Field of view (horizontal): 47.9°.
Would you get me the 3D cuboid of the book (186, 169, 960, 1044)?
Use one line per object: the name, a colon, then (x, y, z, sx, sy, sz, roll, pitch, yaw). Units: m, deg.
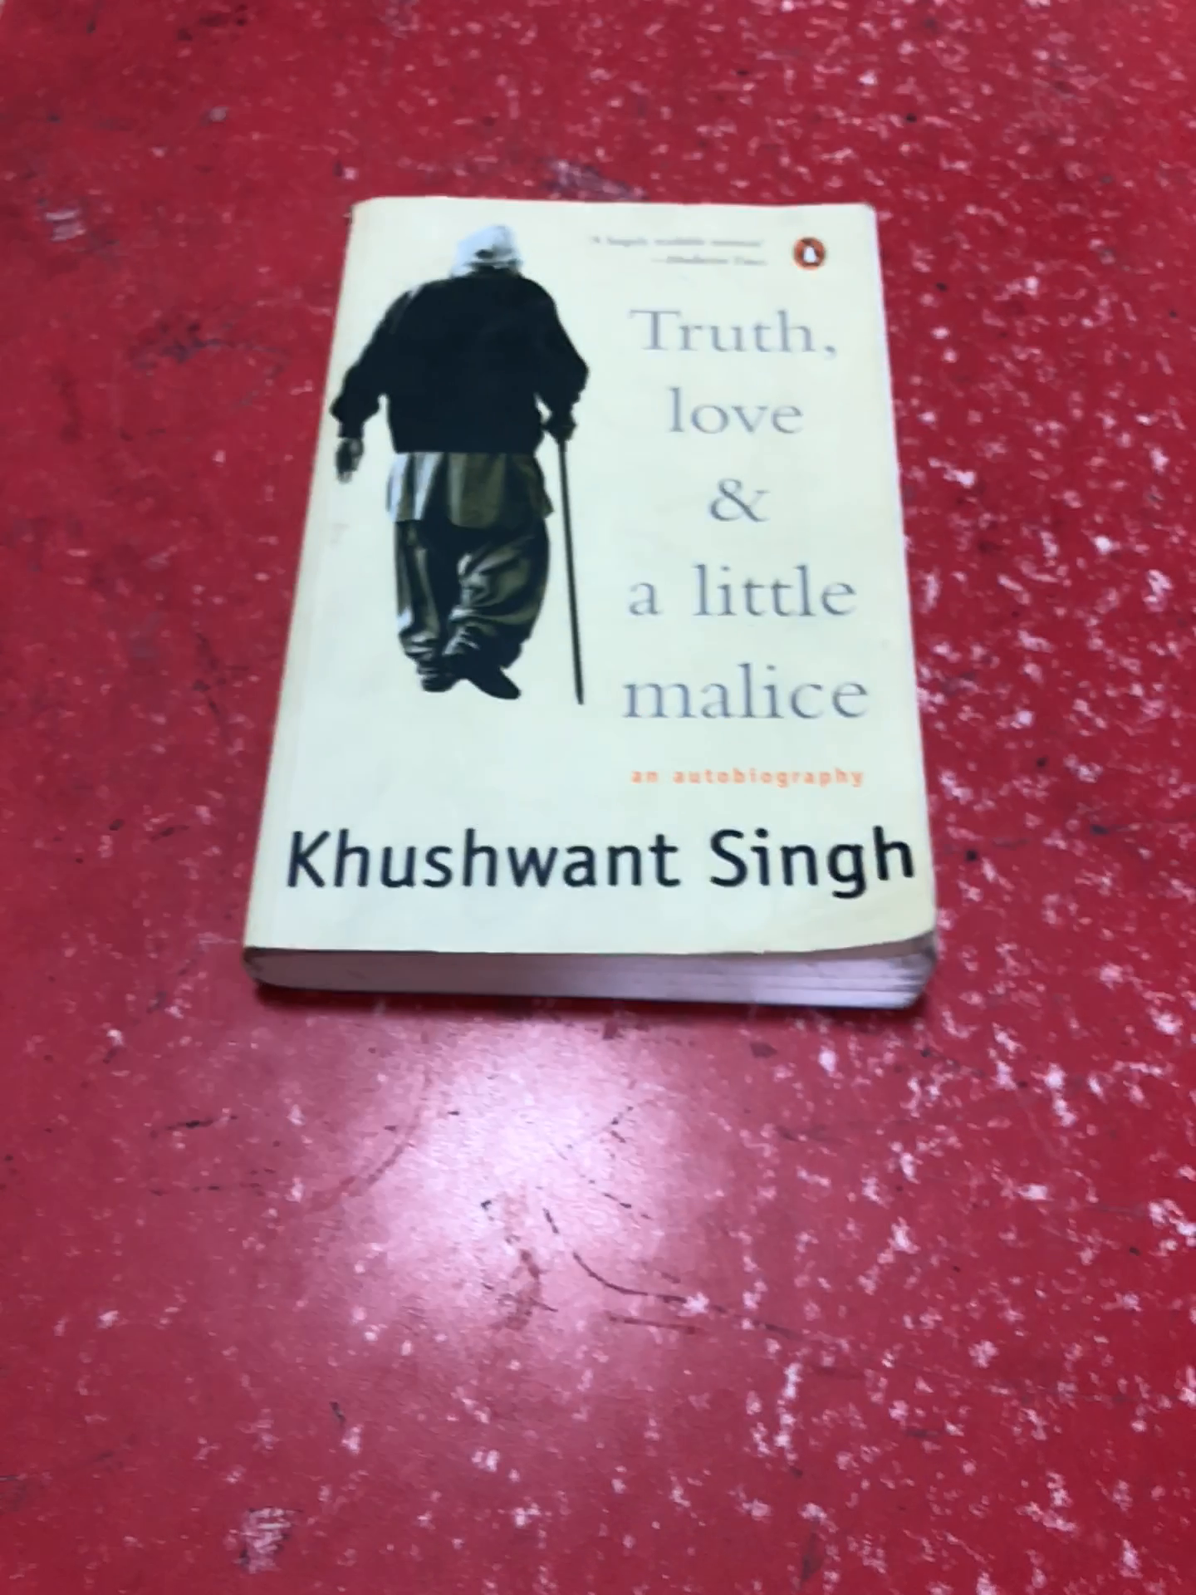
book: (-0.001, -0.054, 0.308, 0.140, 0.040, 0.210, 2, 63, 2)
